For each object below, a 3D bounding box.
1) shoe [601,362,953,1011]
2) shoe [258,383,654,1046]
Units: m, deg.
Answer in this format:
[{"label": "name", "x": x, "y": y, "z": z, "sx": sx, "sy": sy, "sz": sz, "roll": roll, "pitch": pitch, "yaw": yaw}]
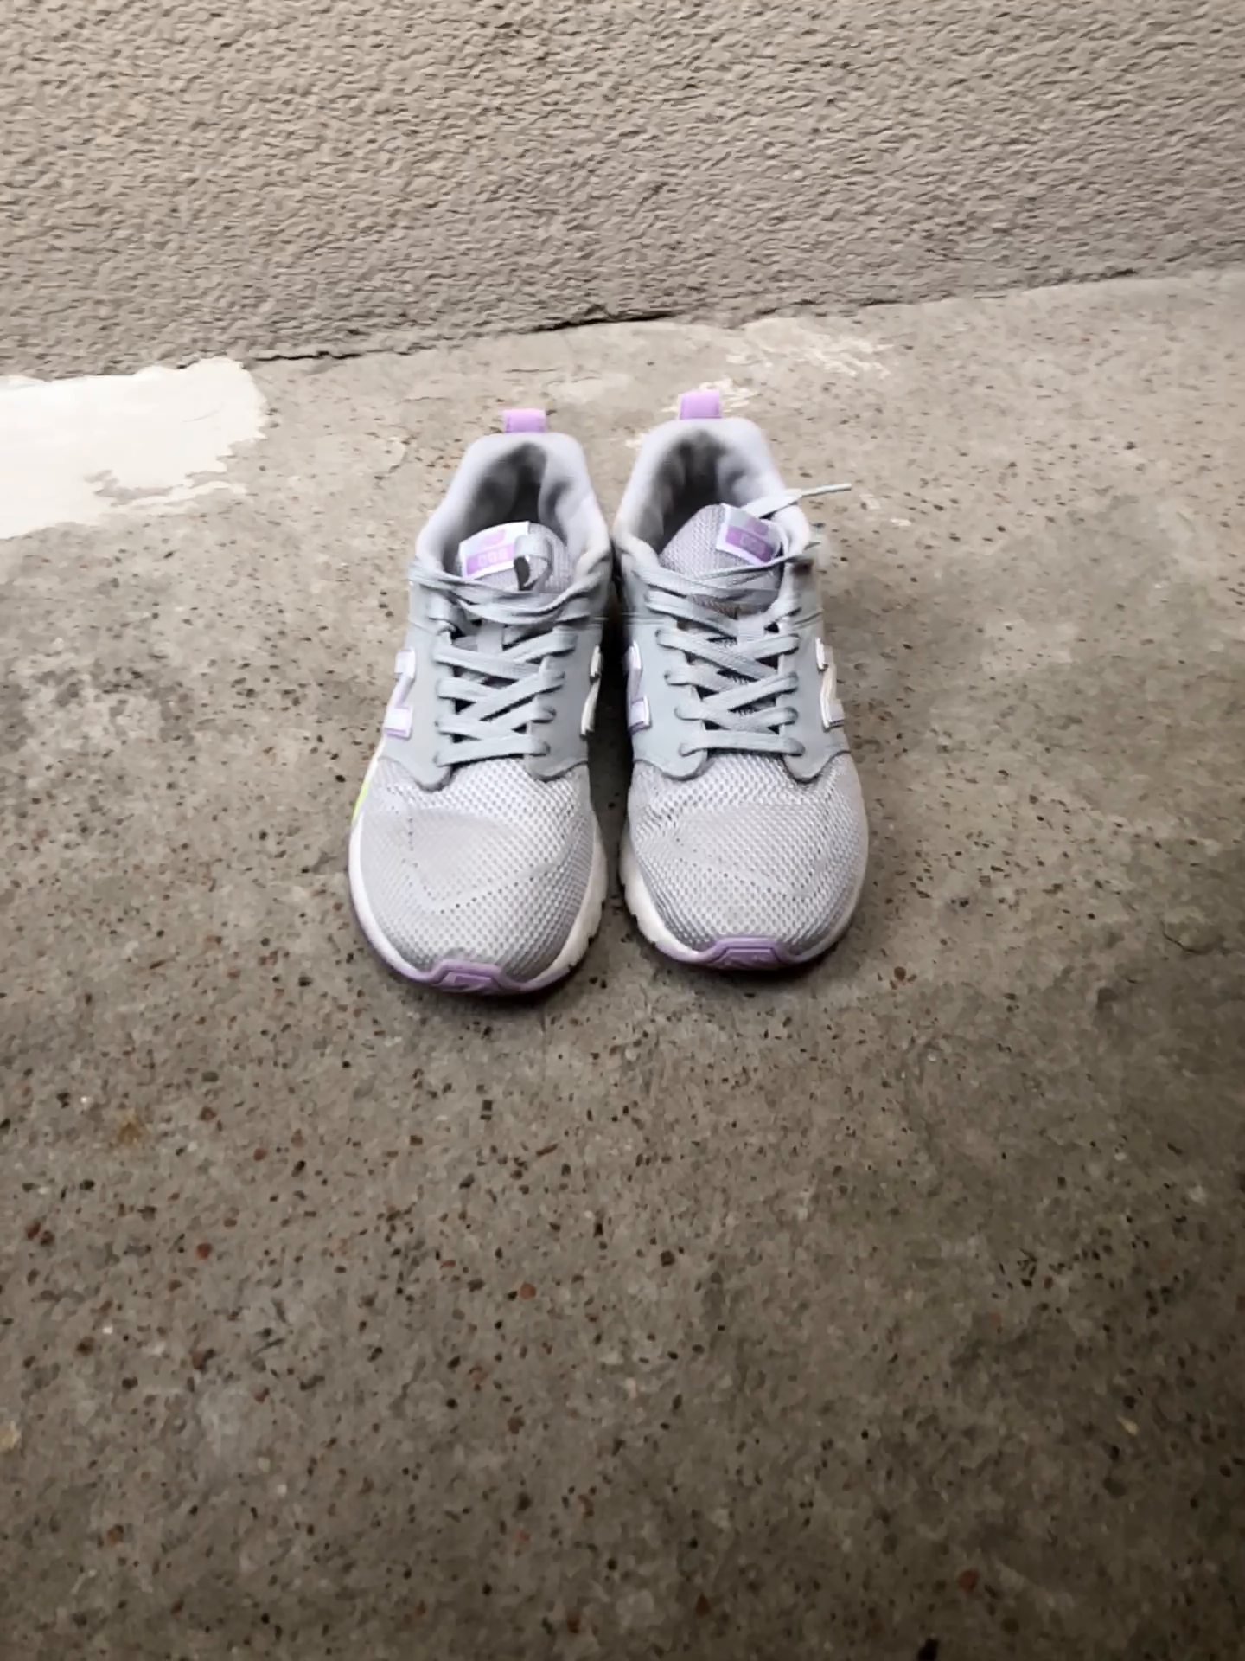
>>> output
[{"label": "shoe", "x": 0.048, "y": -0.070, "z": 0.551, "sx": 0.110, "sy": 0.099, "sz": 0.272, "roll": 0, "pitch": 50, "yaw": 0}, {"label": "shoe", "x": -0.049, "y": -0.059, "z": 0.550, "sx": 0.110, "sy": 0.099, "sz": 0.272, "roll": 2, "pitch": 50, "yaw": 3}]
